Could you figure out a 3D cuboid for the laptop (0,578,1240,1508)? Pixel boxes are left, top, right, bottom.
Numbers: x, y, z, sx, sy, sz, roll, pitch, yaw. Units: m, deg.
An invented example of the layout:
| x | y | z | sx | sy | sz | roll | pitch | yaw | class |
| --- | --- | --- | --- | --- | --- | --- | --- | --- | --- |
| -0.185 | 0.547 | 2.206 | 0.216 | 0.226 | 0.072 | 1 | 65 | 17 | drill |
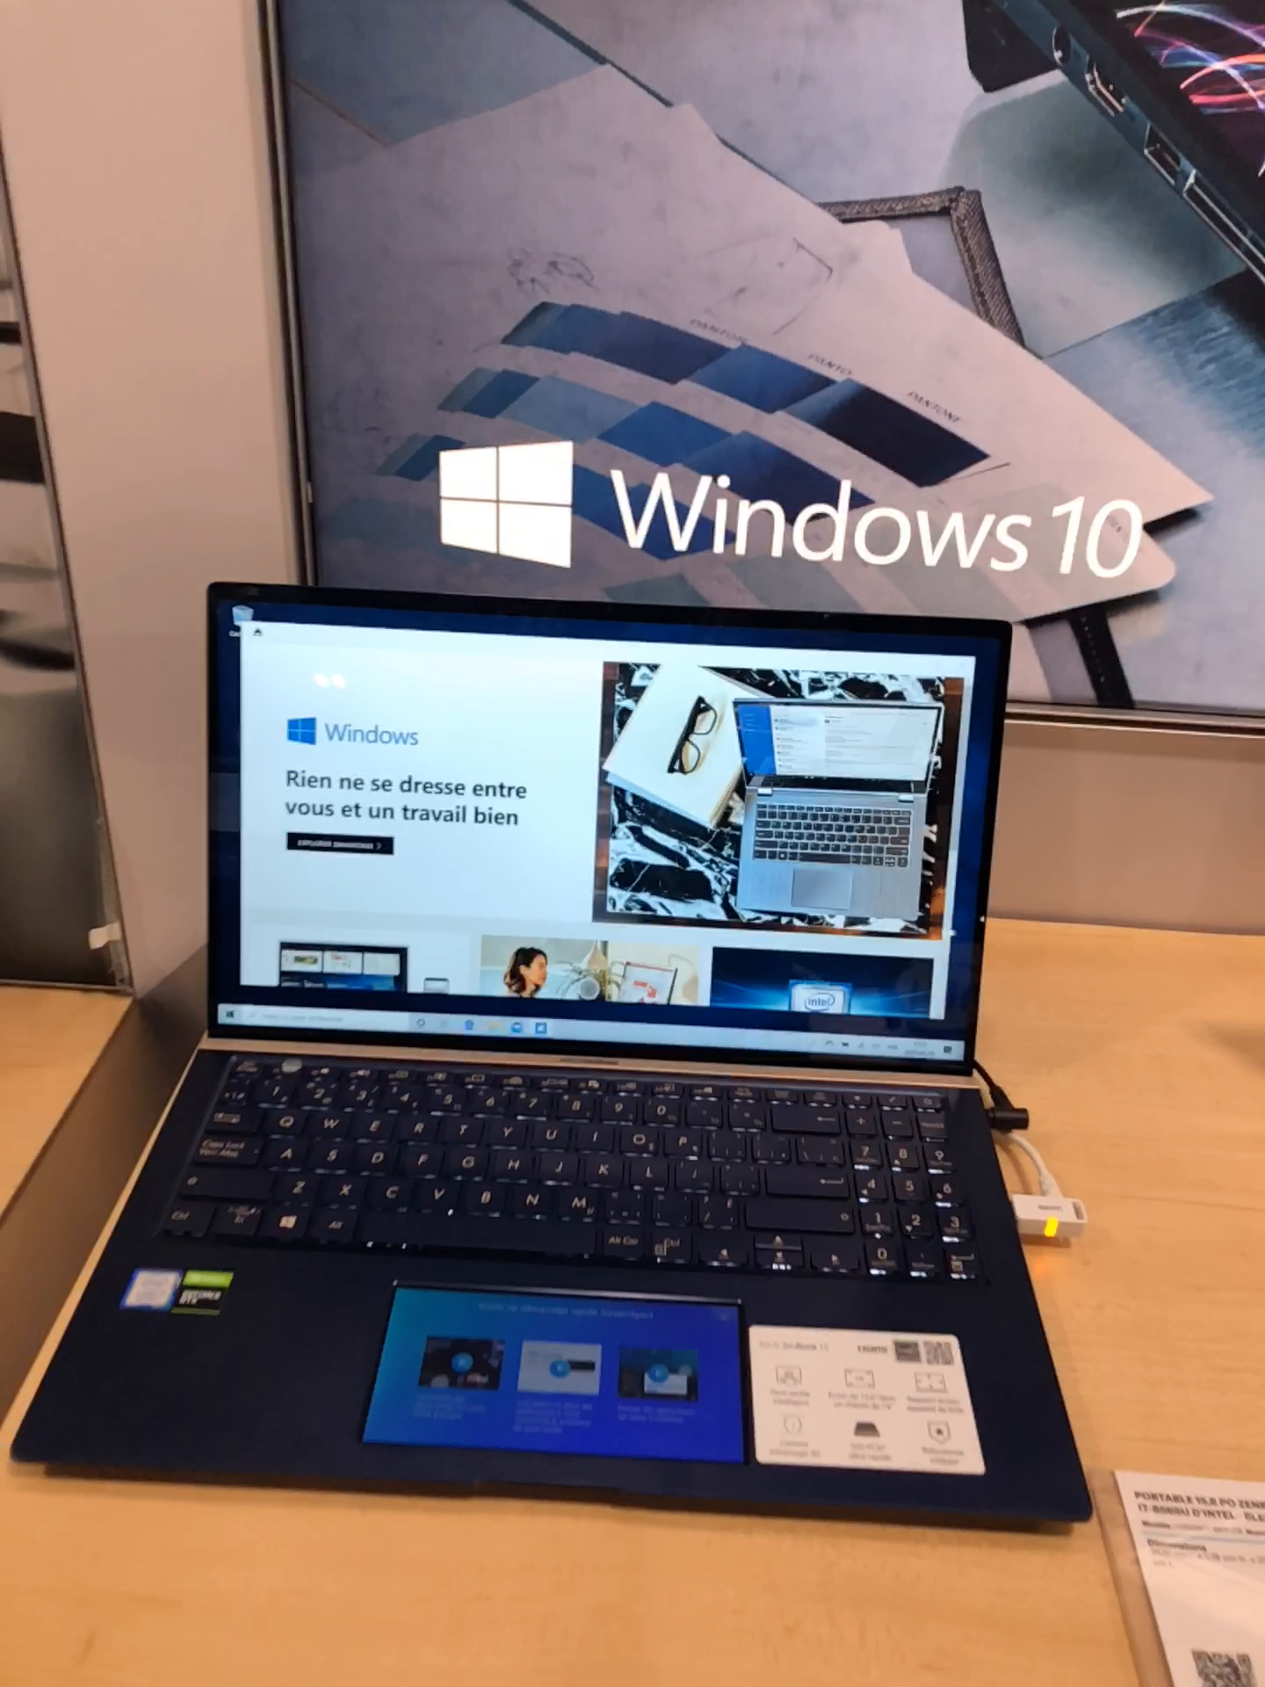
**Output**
| x | y | z | sx | sy | sz | roll | pitch | yaw | class |
| --- | --- | --- | --- | --- | --- | --- | --- | --- | --- |
| -0.017 | 0.049 | 0.511 | 0.337 | 0.183 | 0.275 | 3 | 31 | 0 | laptop |
